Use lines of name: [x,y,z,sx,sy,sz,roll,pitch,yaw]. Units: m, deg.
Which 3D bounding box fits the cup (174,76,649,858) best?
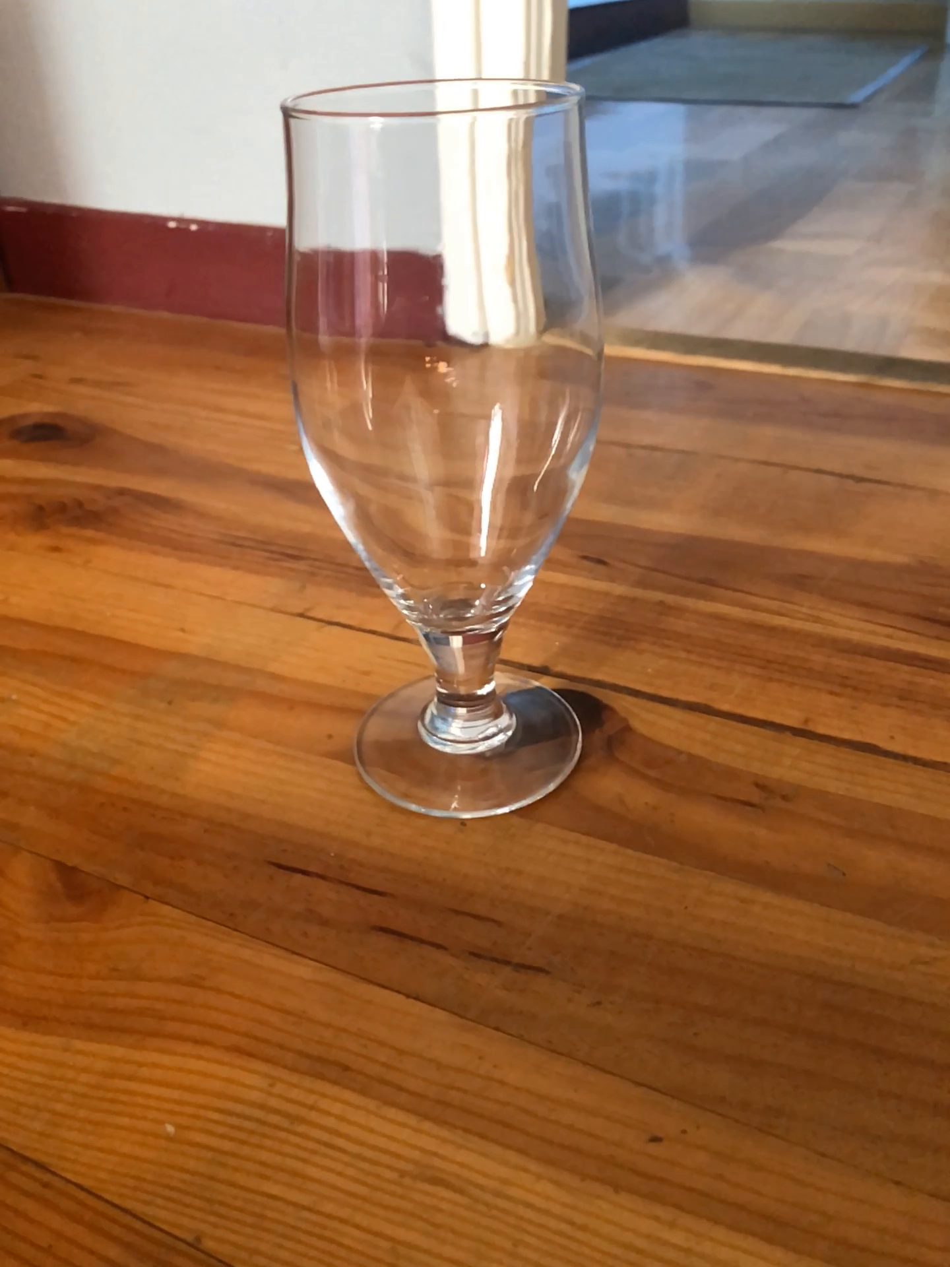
cup: [-0.009,-0.044,0.287,0.081,0.183,0.084,0,33,0]
